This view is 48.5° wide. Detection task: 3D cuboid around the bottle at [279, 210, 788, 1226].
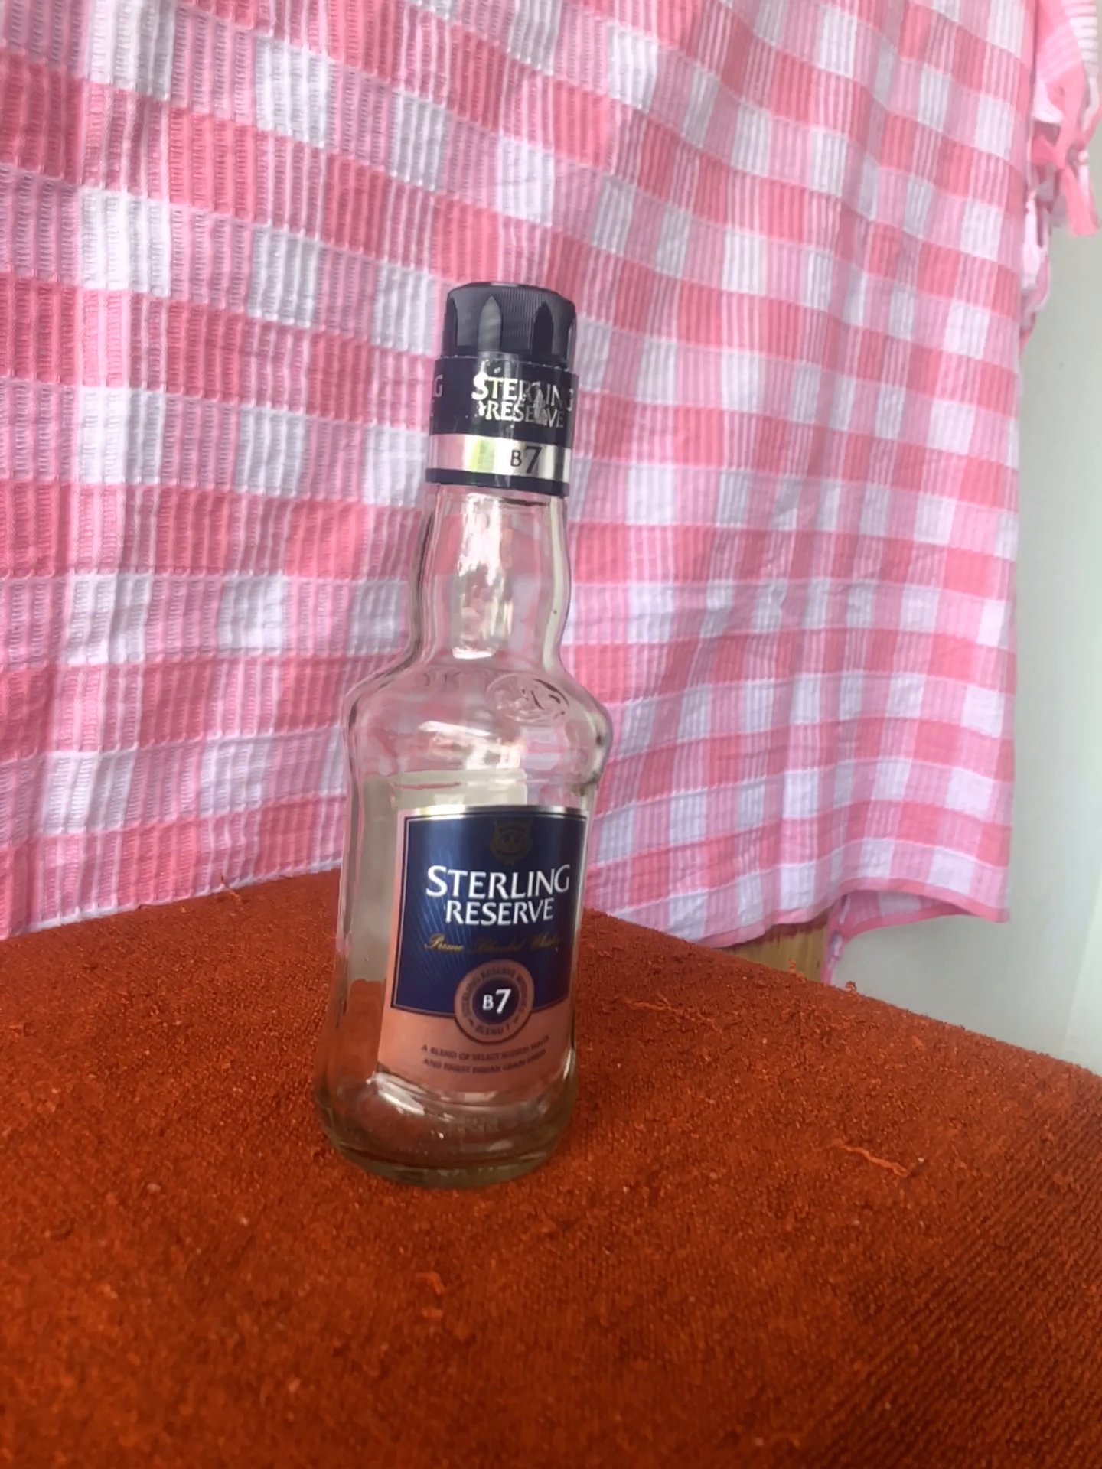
[{"bbox_3d":[-0.008,-0.001,0.234,0.060,0.170,0.050,4,10,-24],"label":"bottle"}]
